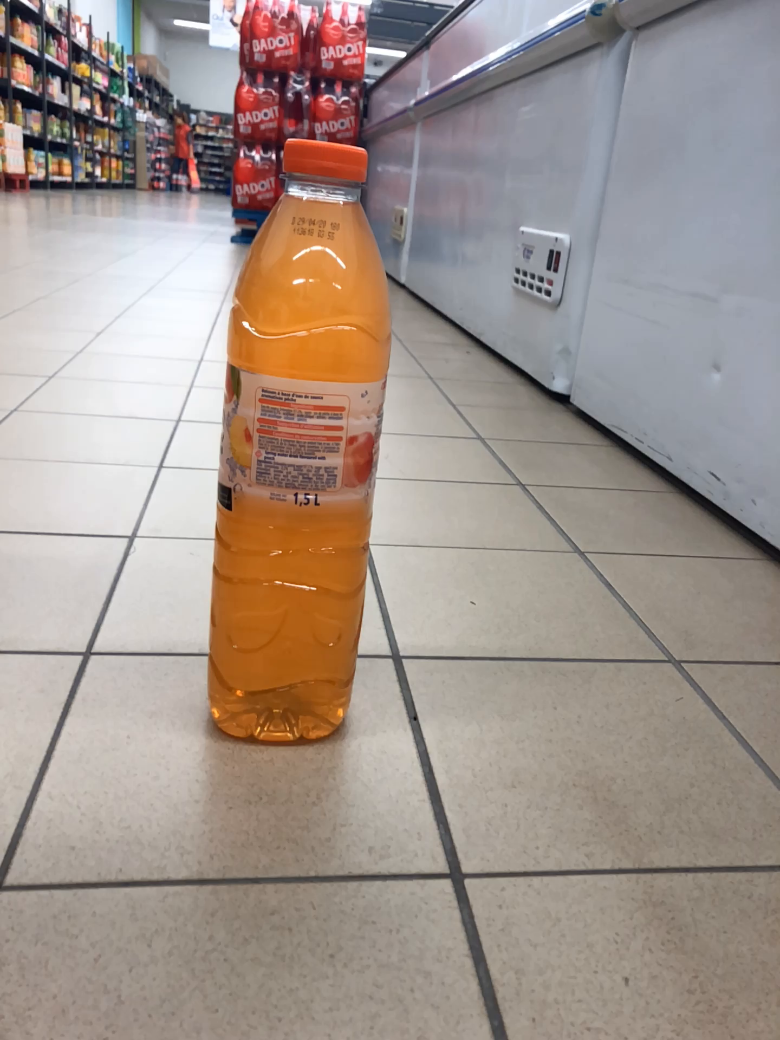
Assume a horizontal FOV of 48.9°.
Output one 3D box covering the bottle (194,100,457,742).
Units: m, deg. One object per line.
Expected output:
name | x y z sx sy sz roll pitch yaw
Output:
bottle | -0.043 -0.042 0.446 0.100 0.299 0.100 5 19 -2
